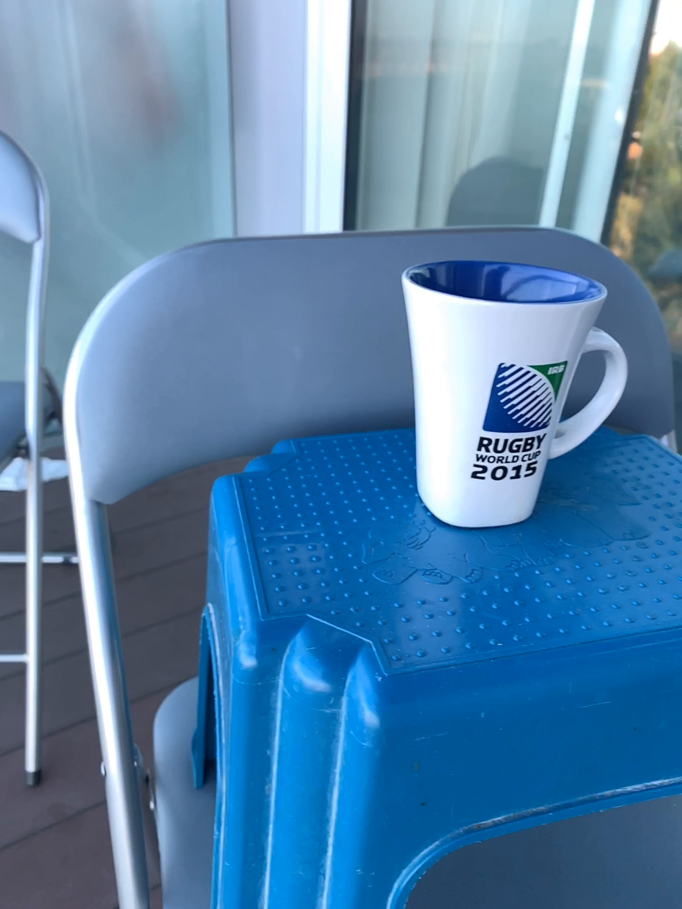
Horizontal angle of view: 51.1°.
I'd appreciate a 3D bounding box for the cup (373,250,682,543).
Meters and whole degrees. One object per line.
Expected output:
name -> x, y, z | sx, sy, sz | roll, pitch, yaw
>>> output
cup -> 0.081, -0.032, 0.336 | 0.107, 0.105, 0.083 | -5, 29, -14
